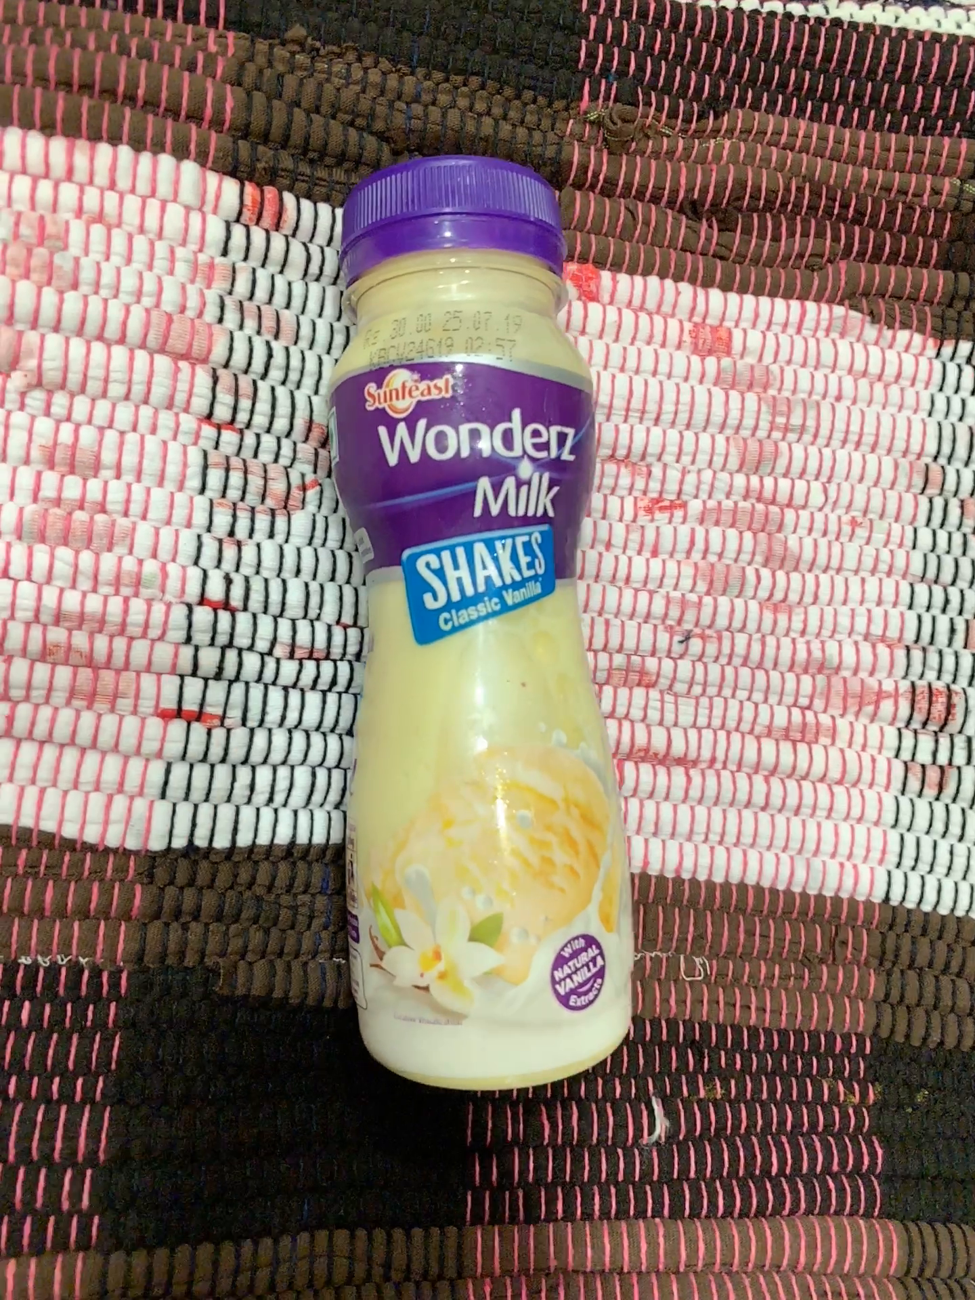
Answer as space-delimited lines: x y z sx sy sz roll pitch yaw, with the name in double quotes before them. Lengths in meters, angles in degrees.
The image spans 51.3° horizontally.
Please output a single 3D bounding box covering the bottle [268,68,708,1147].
"bottle" -0.002 -0.007 0.180 0.060 0.050 0.160 -3 91 -9
